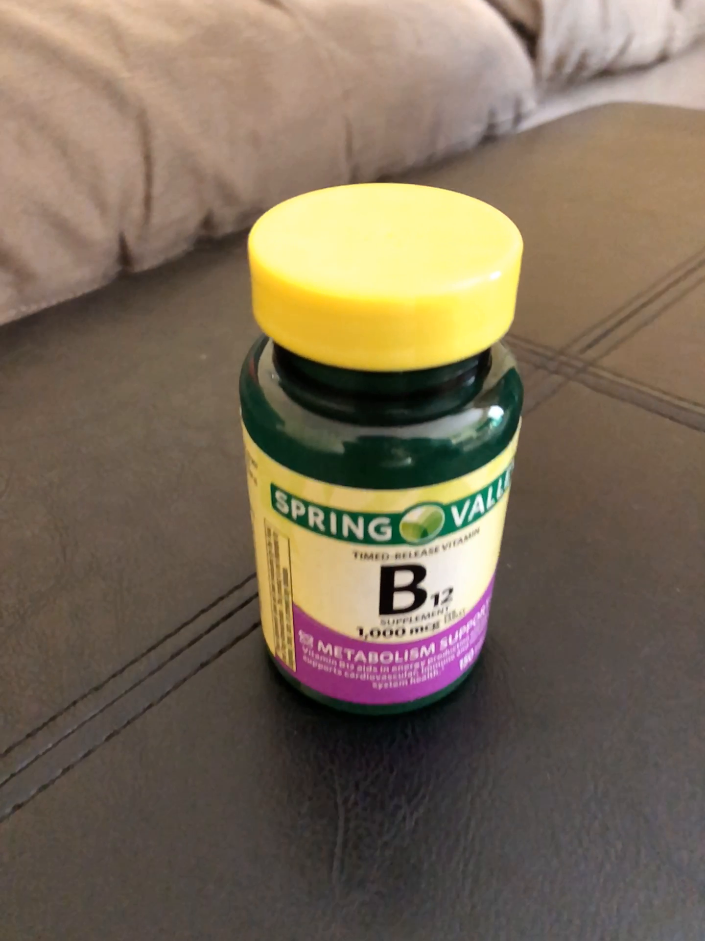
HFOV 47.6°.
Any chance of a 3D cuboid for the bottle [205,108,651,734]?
[{"bbox_3d":[0.007,-0.007,0.138,0.050,0.090,0.050,-1,38,1],"label":"bottle"}]
